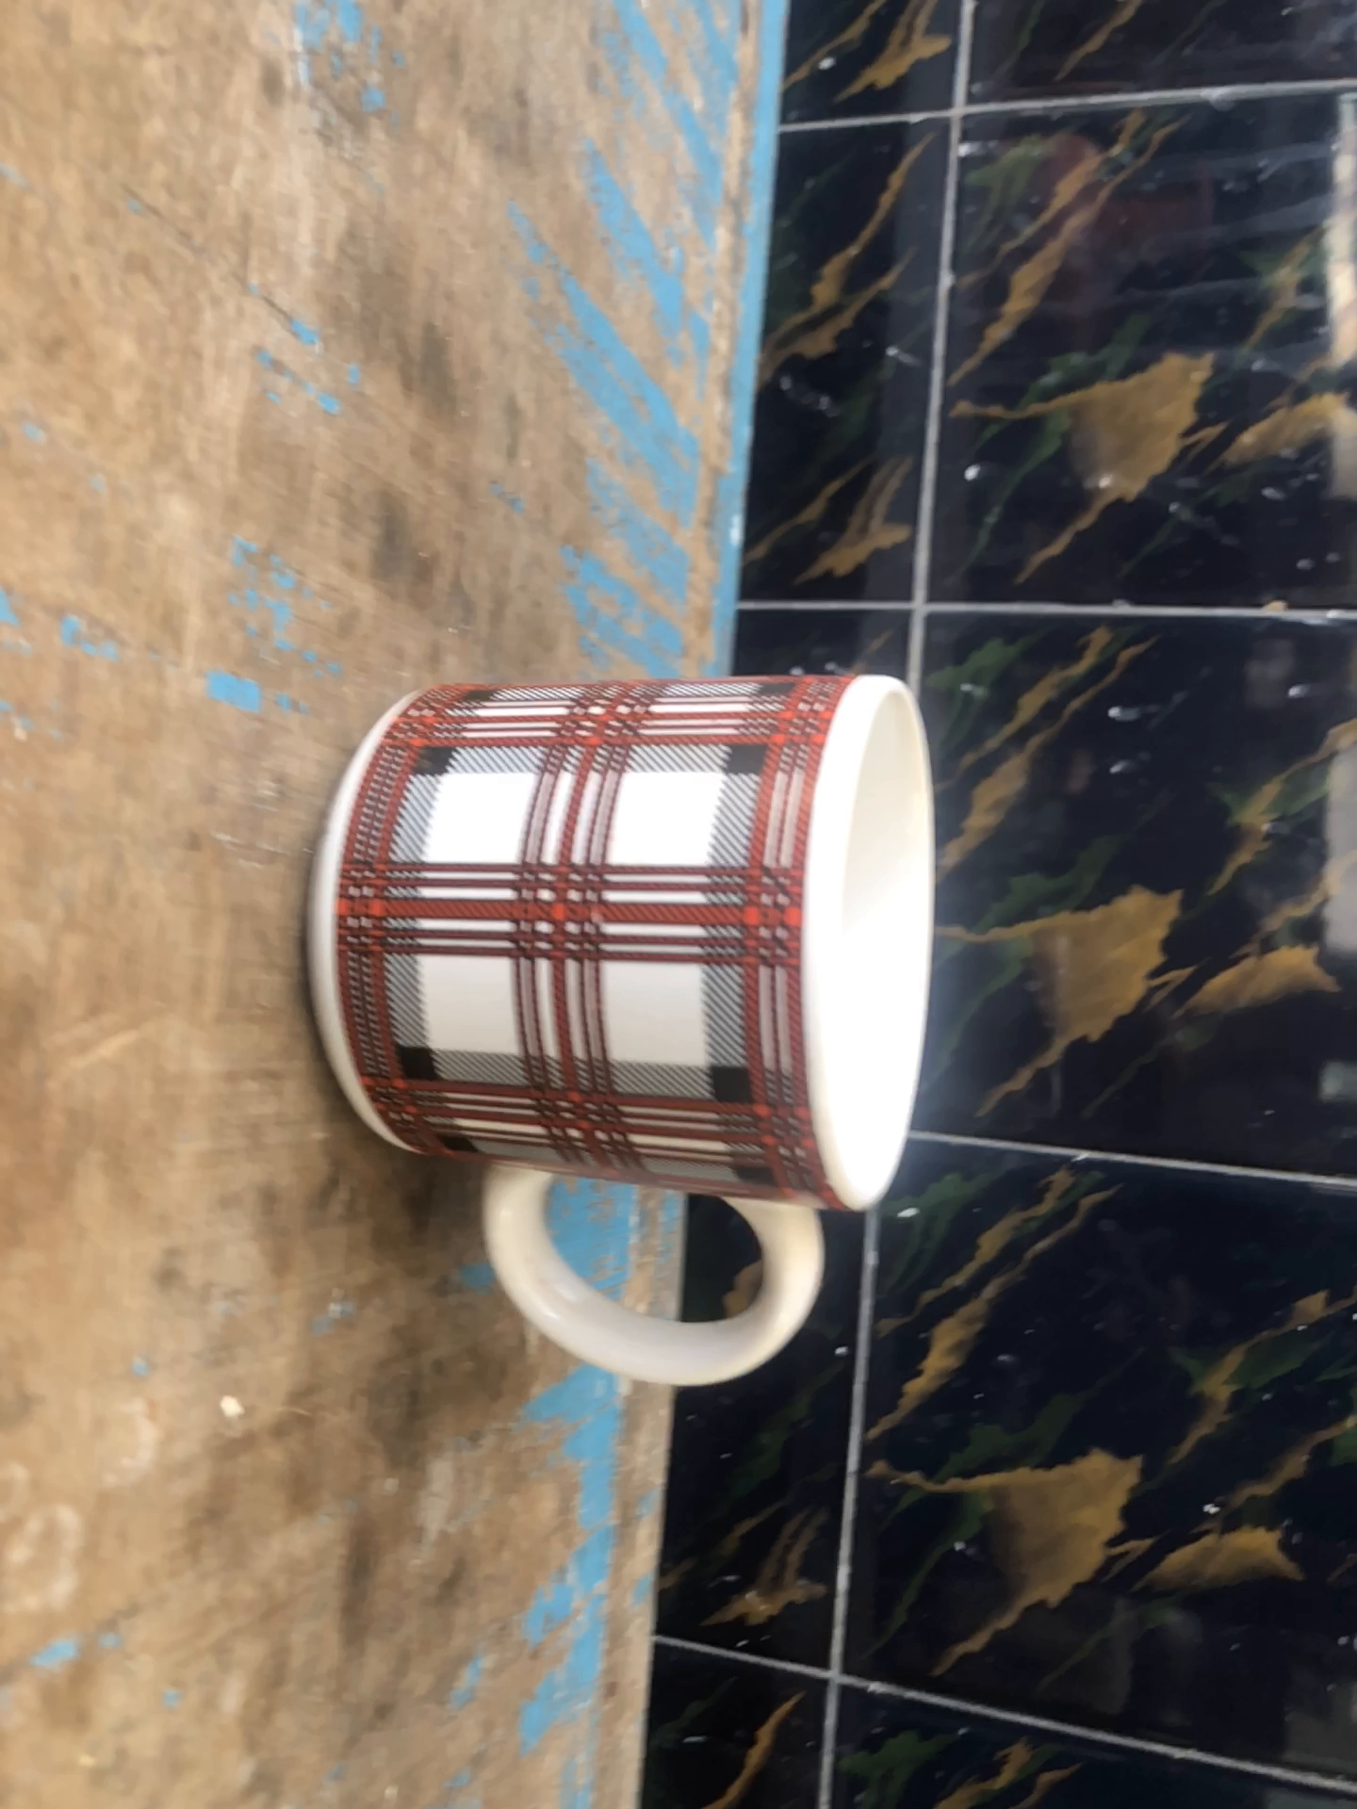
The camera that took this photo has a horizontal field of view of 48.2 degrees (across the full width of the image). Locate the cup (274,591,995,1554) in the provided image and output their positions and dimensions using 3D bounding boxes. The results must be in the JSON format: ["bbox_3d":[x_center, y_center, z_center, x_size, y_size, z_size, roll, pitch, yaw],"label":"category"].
[{"bbox_3d":[-0.003,0.017,0.213,0.060,0.080,0.110,-3,96,-72],"label":"cup"}]
